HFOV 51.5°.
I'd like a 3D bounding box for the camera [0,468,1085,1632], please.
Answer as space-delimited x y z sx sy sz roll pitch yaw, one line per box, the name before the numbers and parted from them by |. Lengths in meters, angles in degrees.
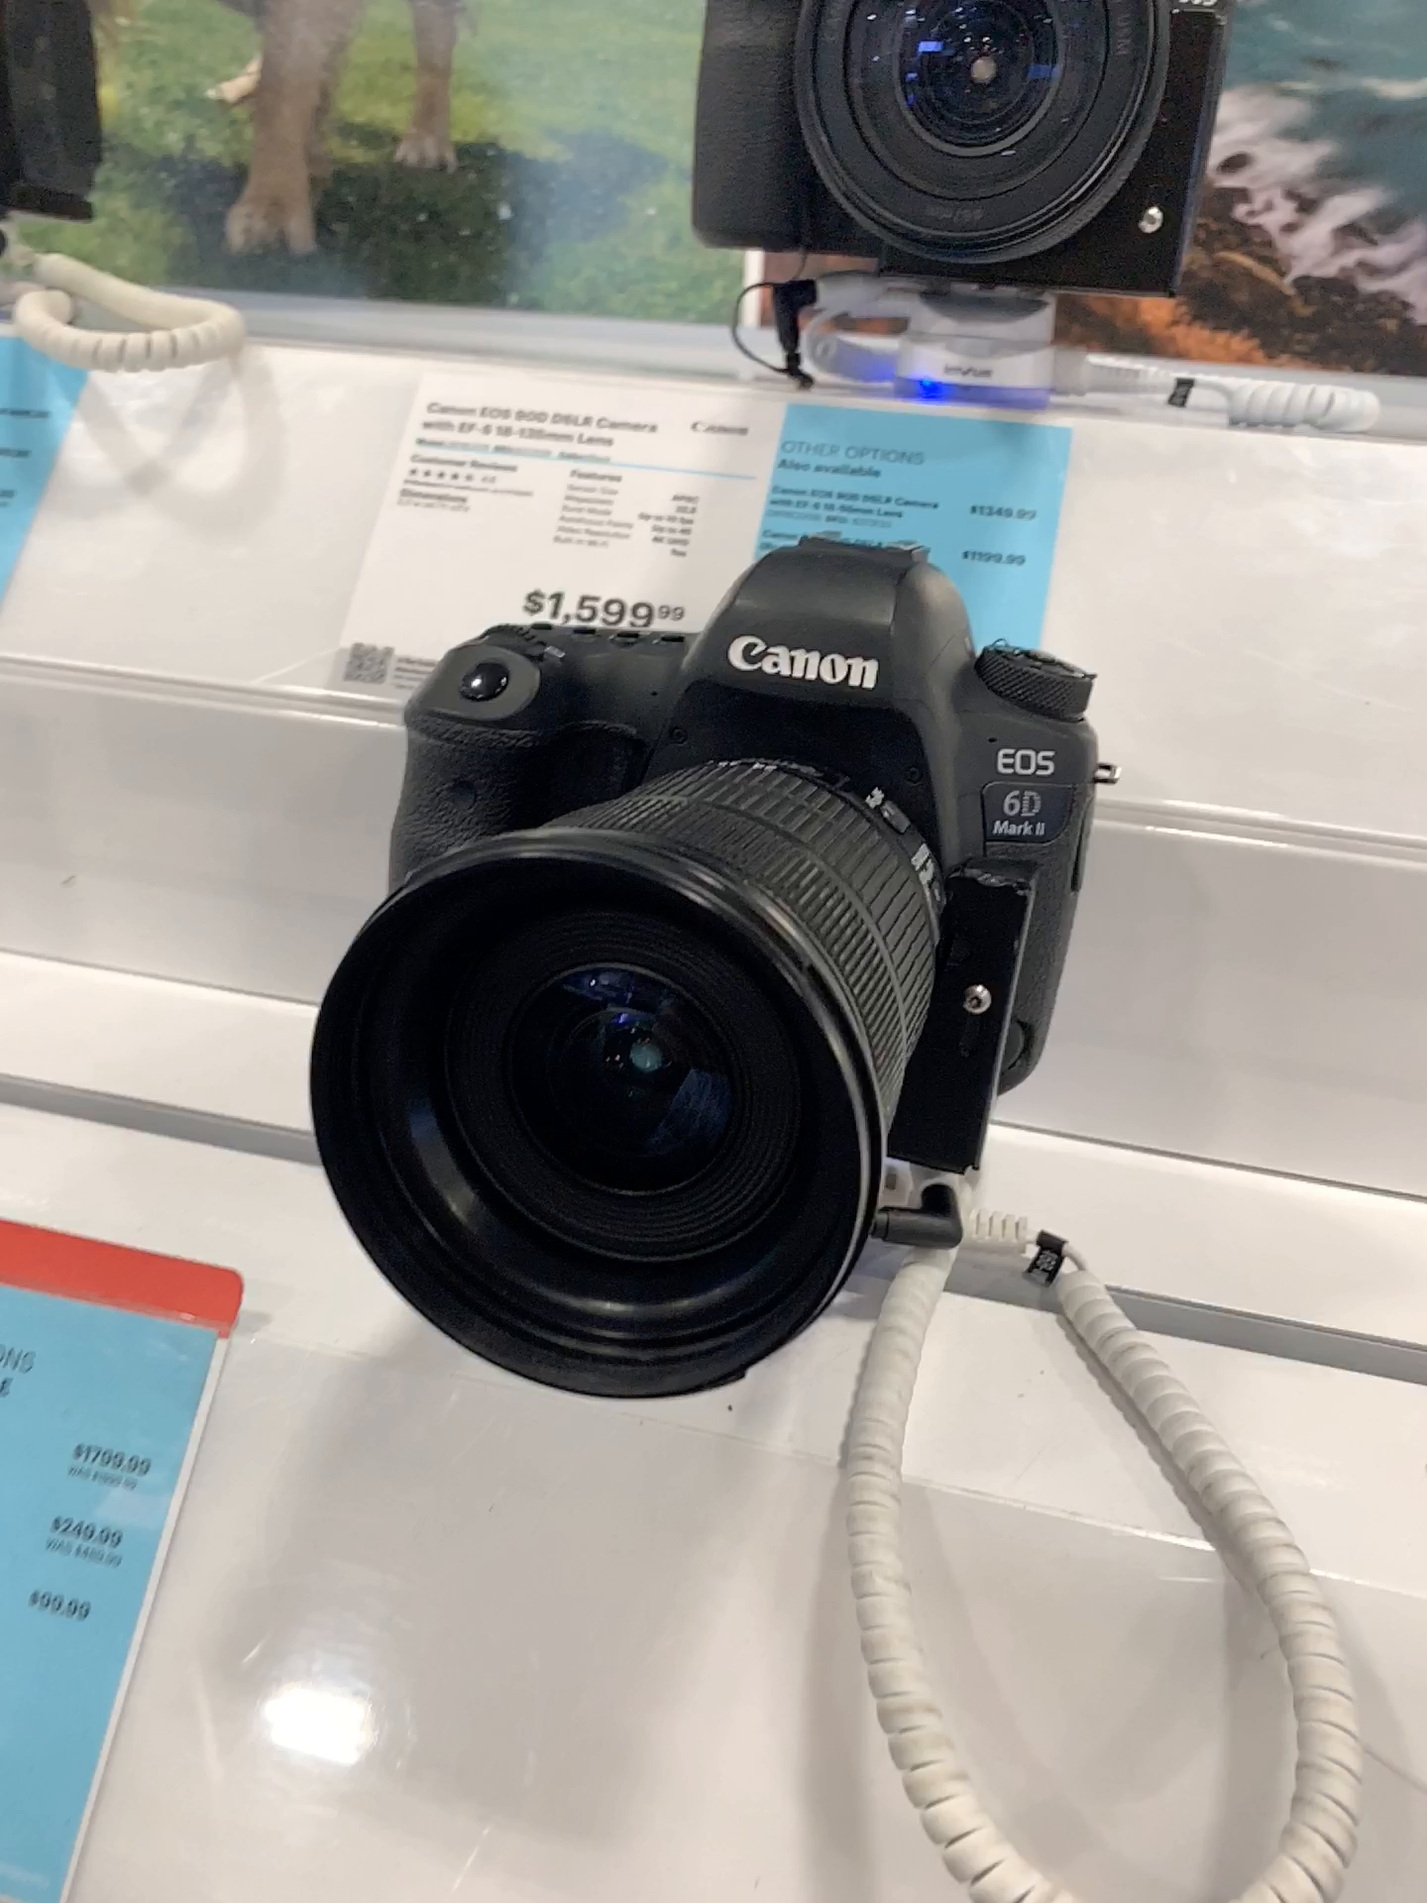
camera | -0.015 -0.010 0.268 0.137 0.123 0.180 9 24 13
